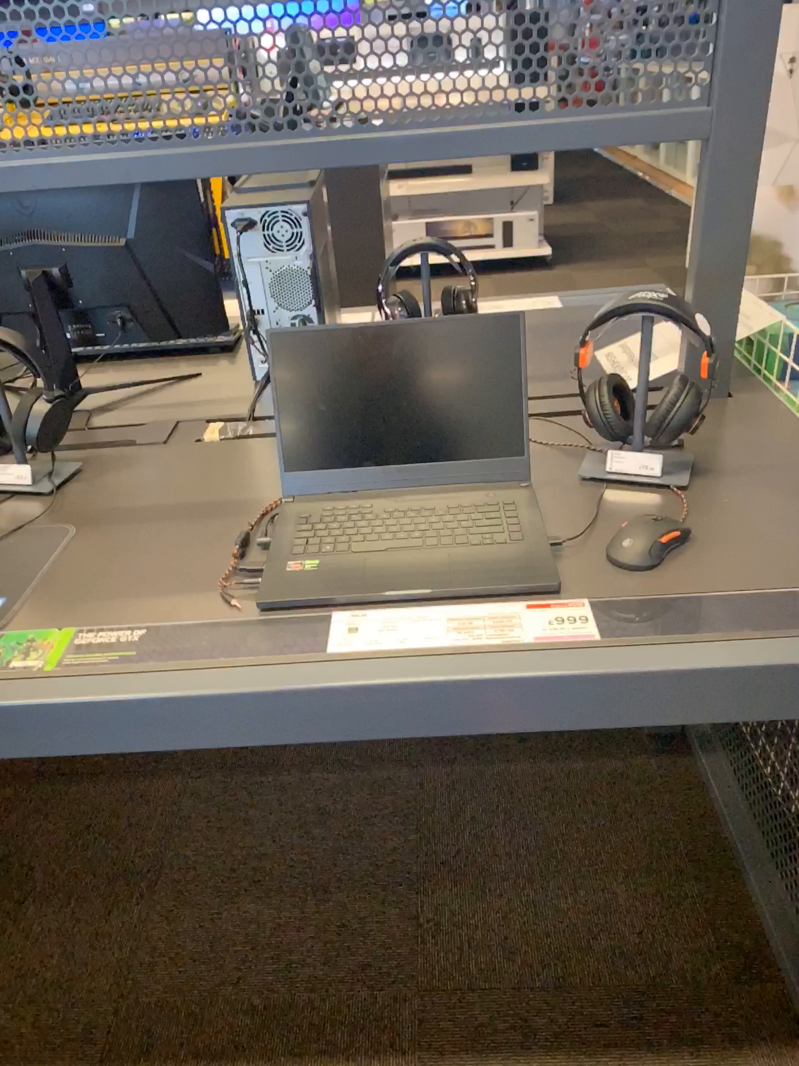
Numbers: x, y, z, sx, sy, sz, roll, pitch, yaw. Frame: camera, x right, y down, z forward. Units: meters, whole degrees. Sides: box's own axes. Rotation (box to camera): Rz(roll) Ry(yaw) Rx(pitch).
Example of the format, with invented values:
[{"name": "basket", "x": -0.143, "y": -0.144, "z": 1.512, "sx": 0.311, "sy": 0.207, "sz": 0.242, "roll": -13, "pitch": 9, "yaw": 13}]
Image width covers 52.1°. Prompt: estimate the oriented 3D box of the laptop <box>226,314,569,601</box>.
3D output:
[{"name": "laptop", "x": 0.004, "y": -0.109, "z": 1.017, "sx": 0.348, "sy": 0.203, "sz": 0.326, "roll": -3, "pitch": 32, "yaw": 1}]
